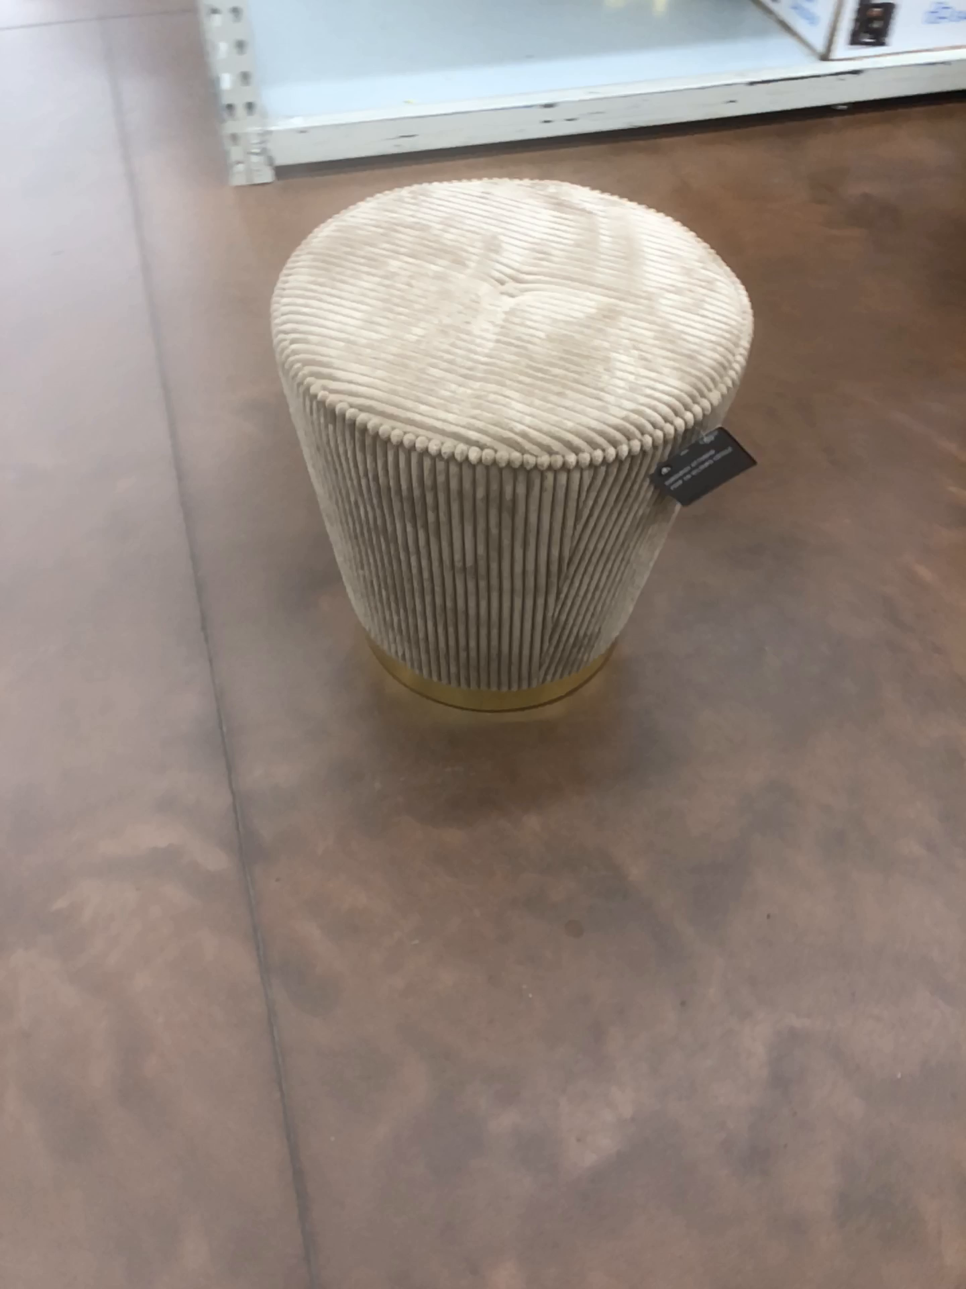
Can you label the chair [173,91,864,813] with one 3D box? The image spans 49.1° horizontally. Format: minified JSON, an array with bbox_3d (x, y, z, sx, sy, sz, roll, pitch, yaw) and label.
[{"bbox_3d":[0.015,-0.205,1.113,0.450,0.478,0.421,-25,56,-21],"label":"chair"}]
